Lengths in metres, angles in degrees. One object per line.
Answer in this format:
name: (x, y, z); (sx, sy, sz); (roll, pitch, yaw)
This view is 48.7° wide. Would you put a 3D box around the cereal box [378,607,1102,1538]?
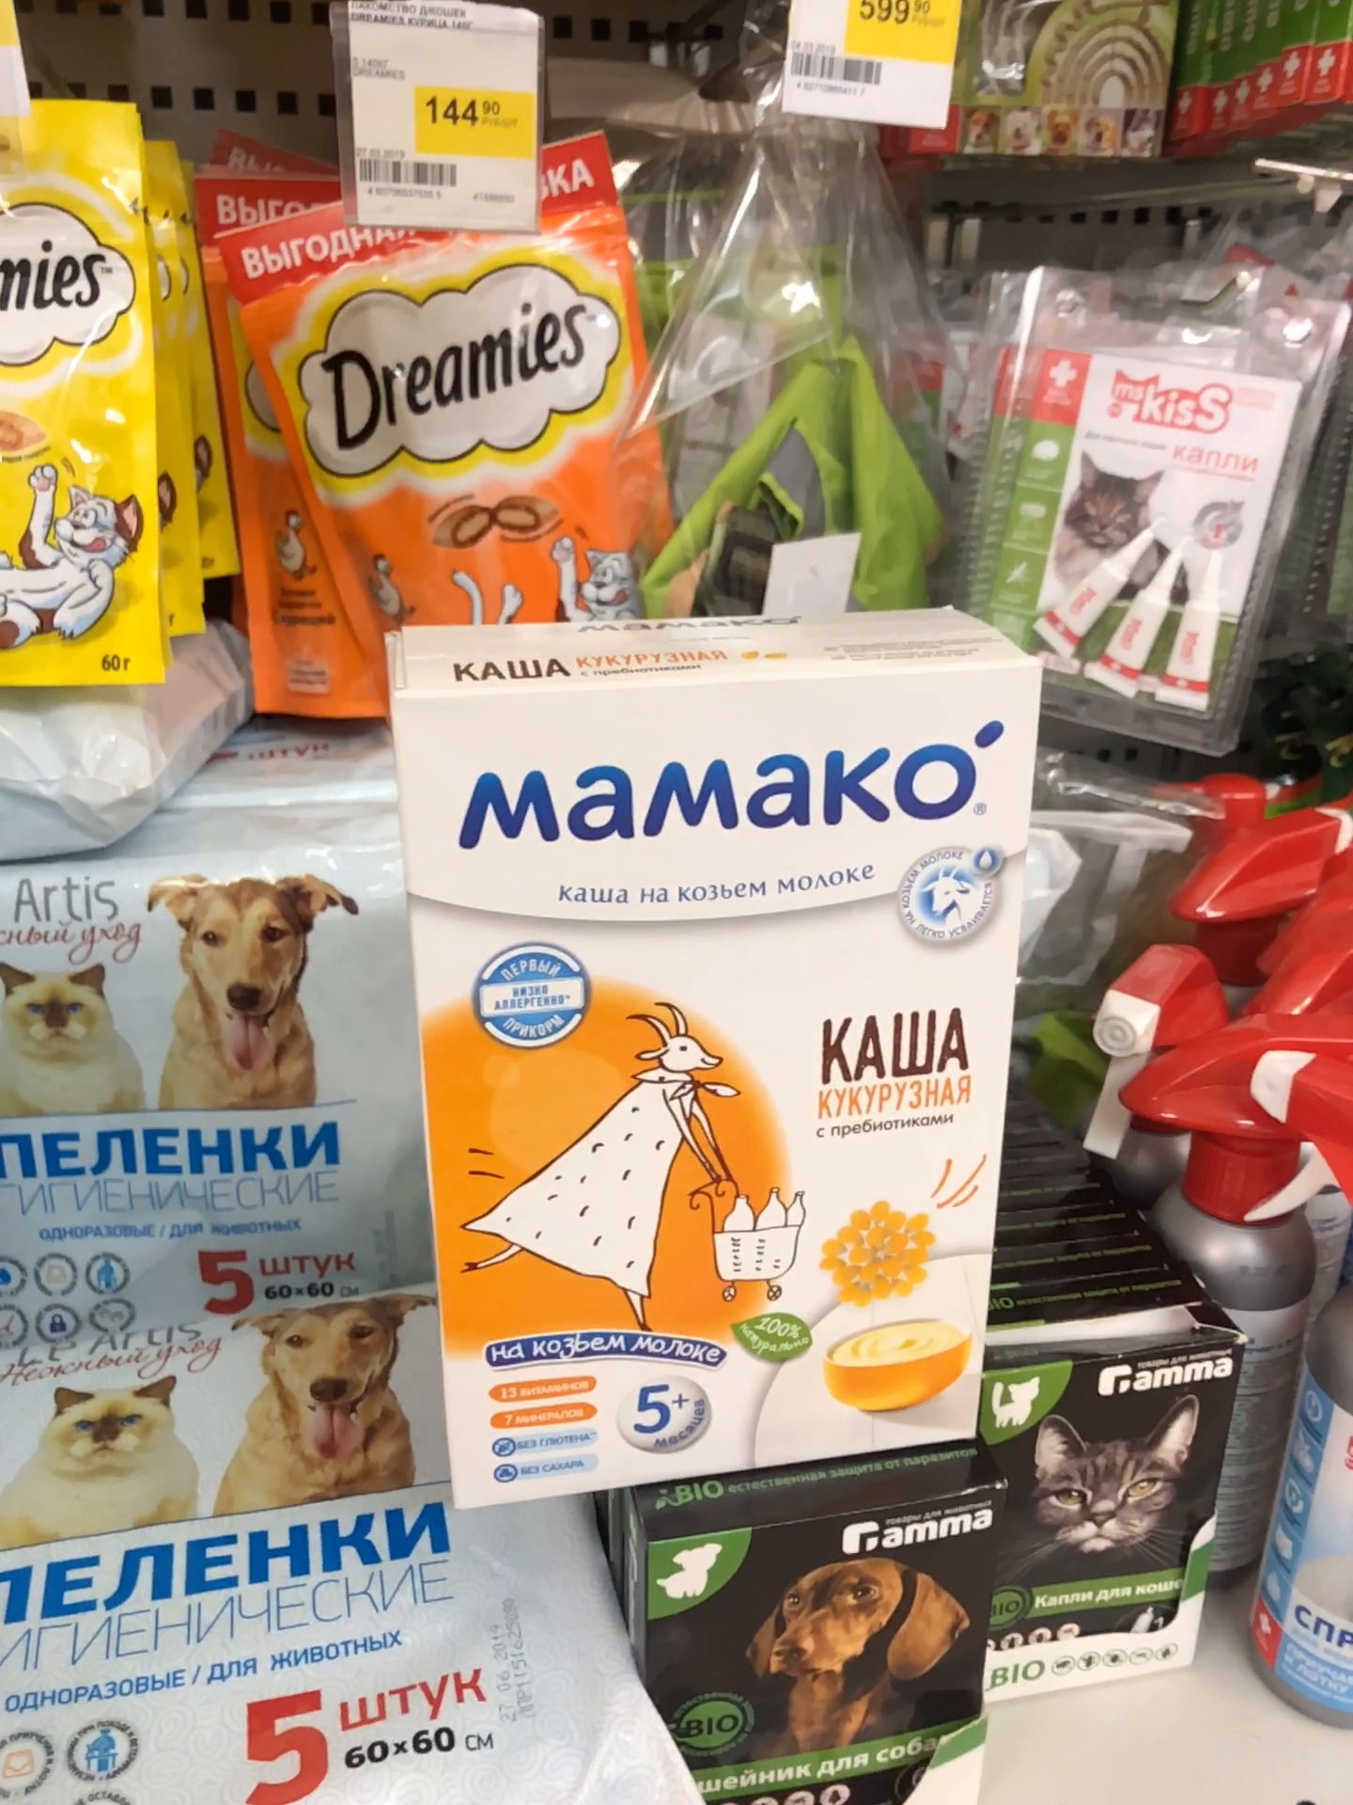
cereal box: (0.010, 0.039, 0.341); (0.140, 0.199, 0.050); (-4, 22, -10)
